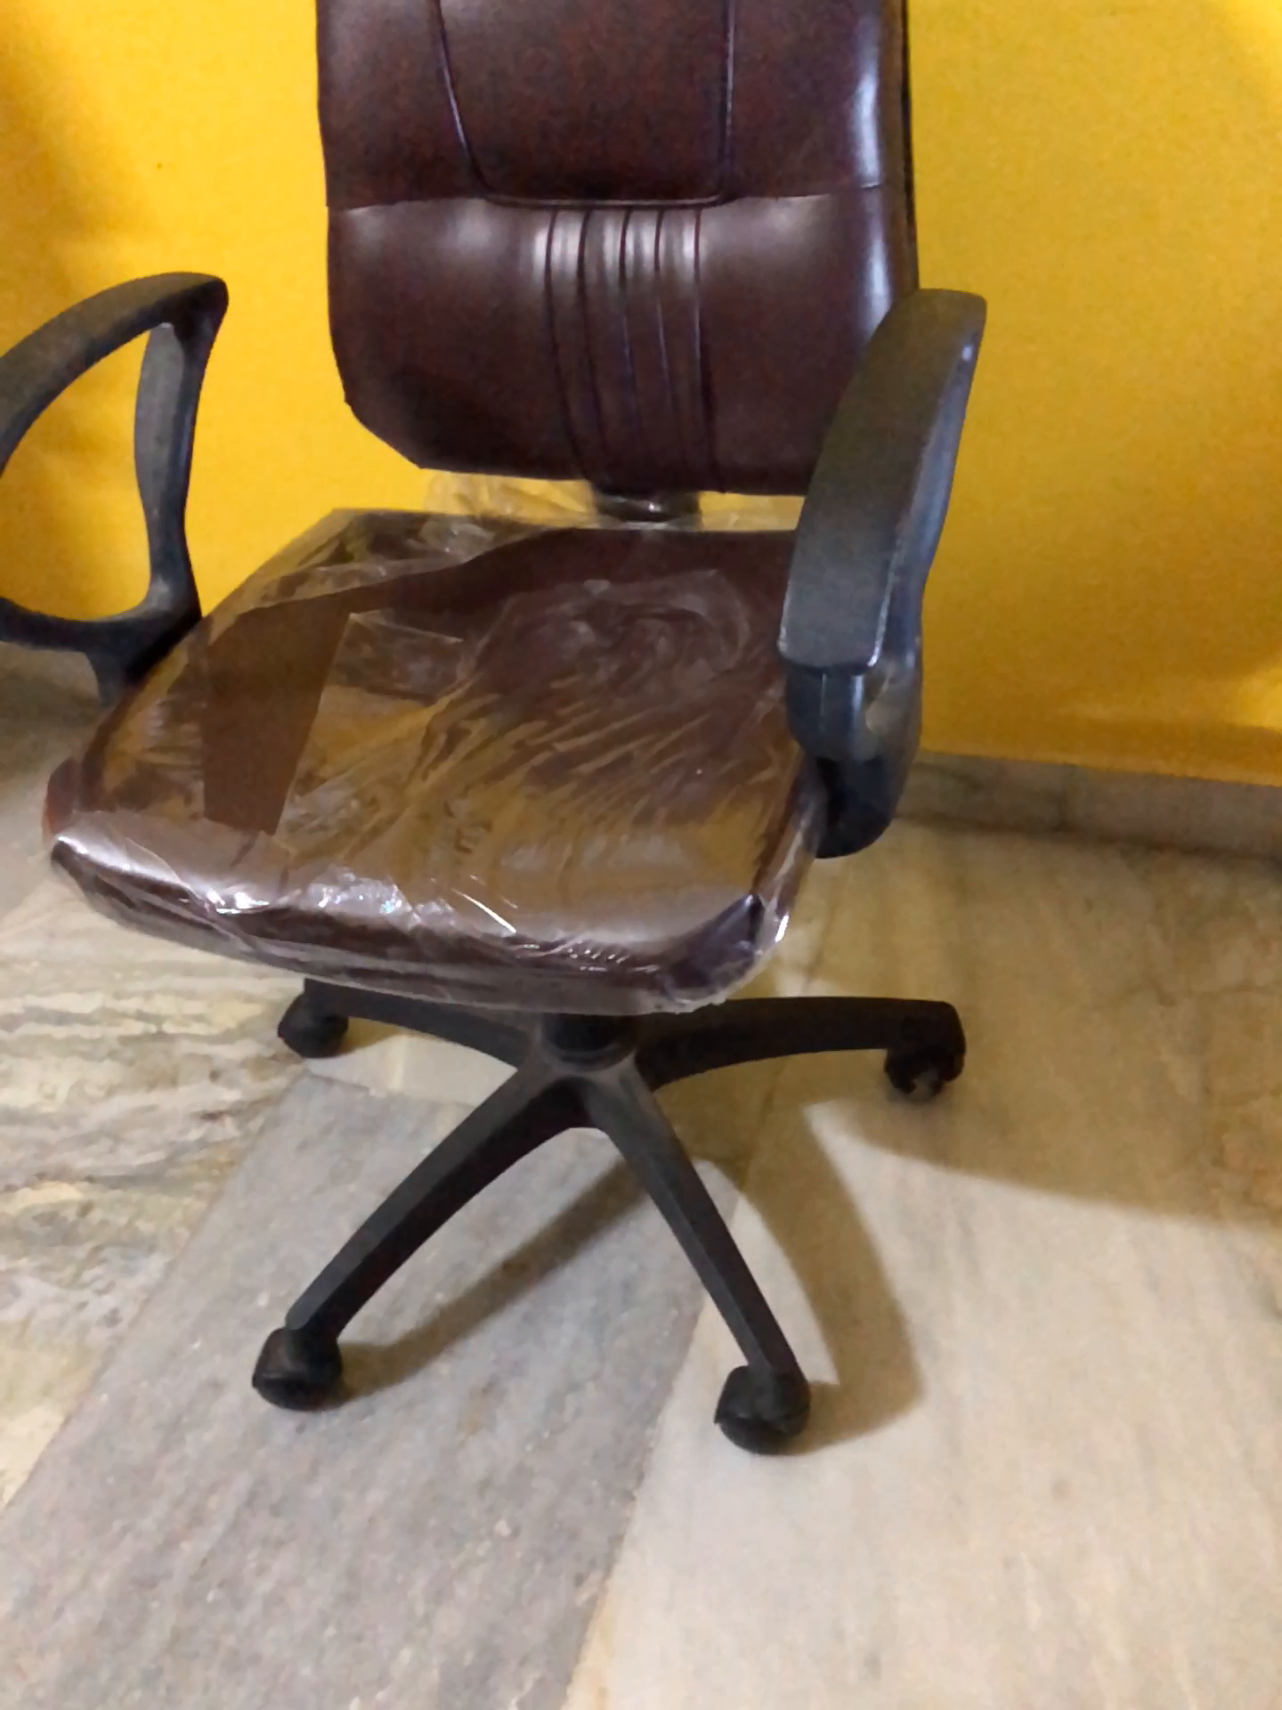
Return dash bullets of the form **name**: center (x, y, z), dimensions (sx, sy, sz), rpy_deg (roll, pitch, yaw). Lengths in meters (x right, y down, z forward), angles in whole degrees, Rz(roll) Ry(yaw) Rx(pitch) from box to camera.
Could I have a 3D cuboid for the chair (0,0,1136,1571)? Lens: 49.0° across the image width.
- **chair**: center (-0.095, -0.152, 0.951), dimensions (0.690, 0.973, 0.685), rpy_deg (5, 41, 14)
